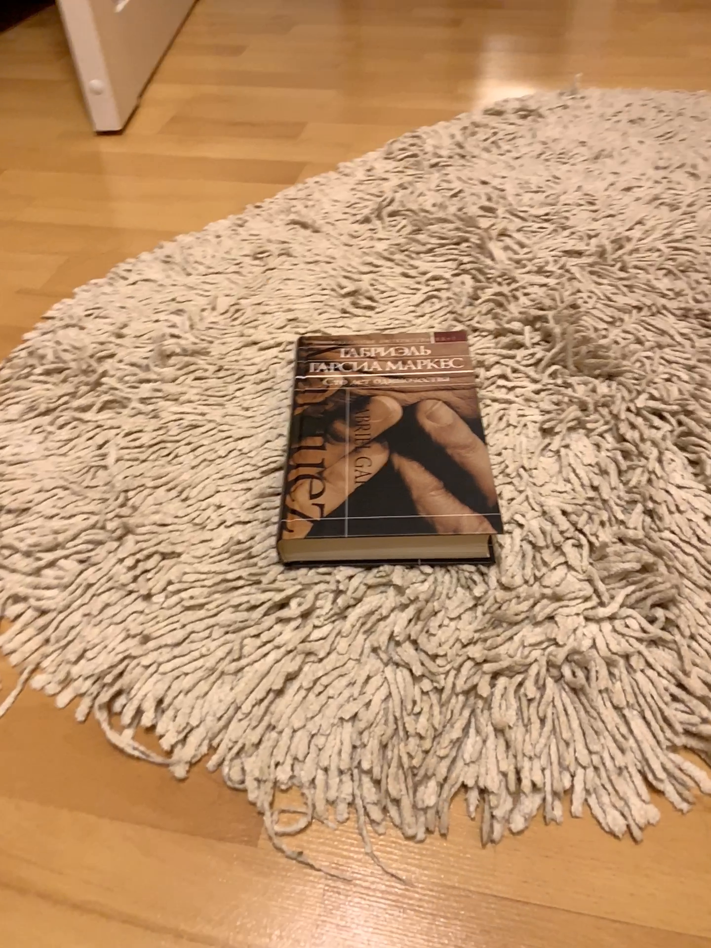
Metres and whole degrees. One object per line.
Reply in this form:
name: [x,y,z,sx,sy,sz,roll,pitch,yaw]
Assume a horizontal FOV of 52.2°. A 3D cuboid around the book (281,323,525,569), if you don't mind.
book: [0.027,-0.030,0.502,0.140,0.030,0.212,-1,45,1]
